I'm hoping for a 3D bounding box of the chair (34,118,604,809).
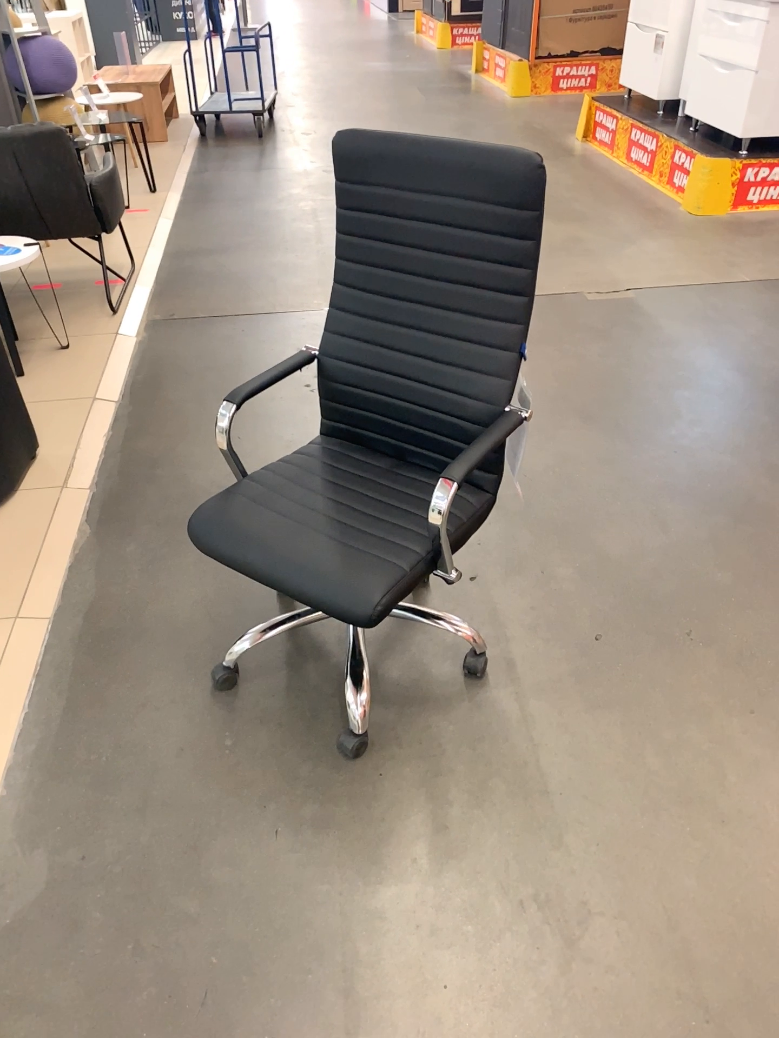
[{"bbox_3d":[-0.080,-0.142,1.613,0.652,1.075,0.682,21,42,29],"label":"chair"}]
